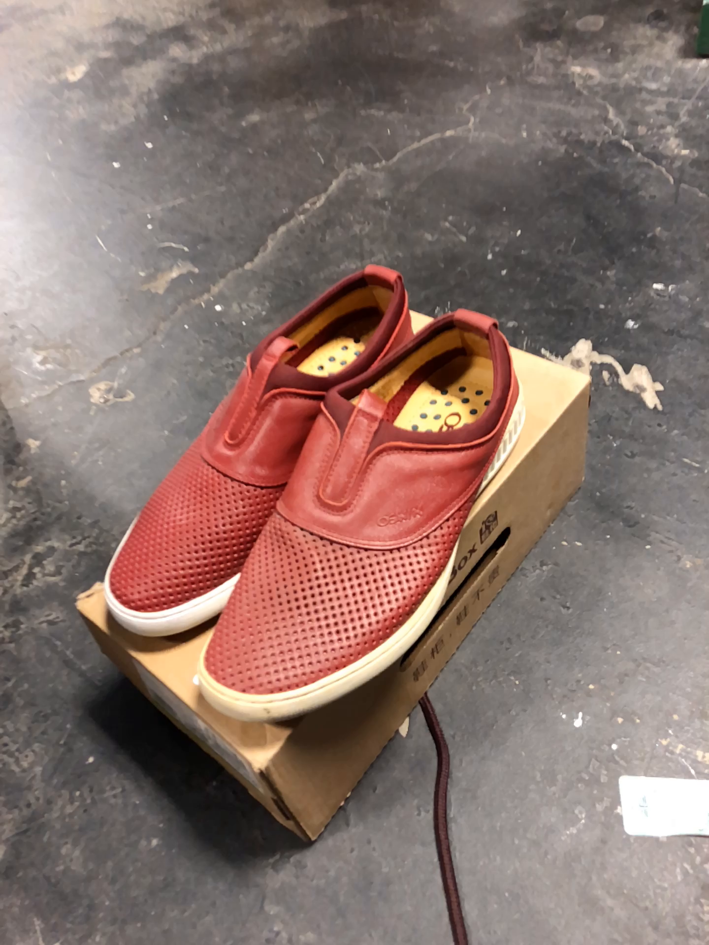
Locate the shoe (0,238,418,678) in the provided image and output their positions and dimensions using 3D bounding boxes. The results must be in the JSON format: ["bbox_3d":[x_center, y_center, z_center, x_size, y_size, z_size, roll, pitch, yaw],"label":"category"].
[{"bbox_3d":[-0.071,-0.019,0.459,0.100,0.109,0.231,23,58,28],"label":"shoe"}]

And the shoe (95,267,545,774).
[{"bbox_3d":[0.001,0.013,0.408,0.100,0.109,0.231,23,58,28],"label":"shoe"}]
